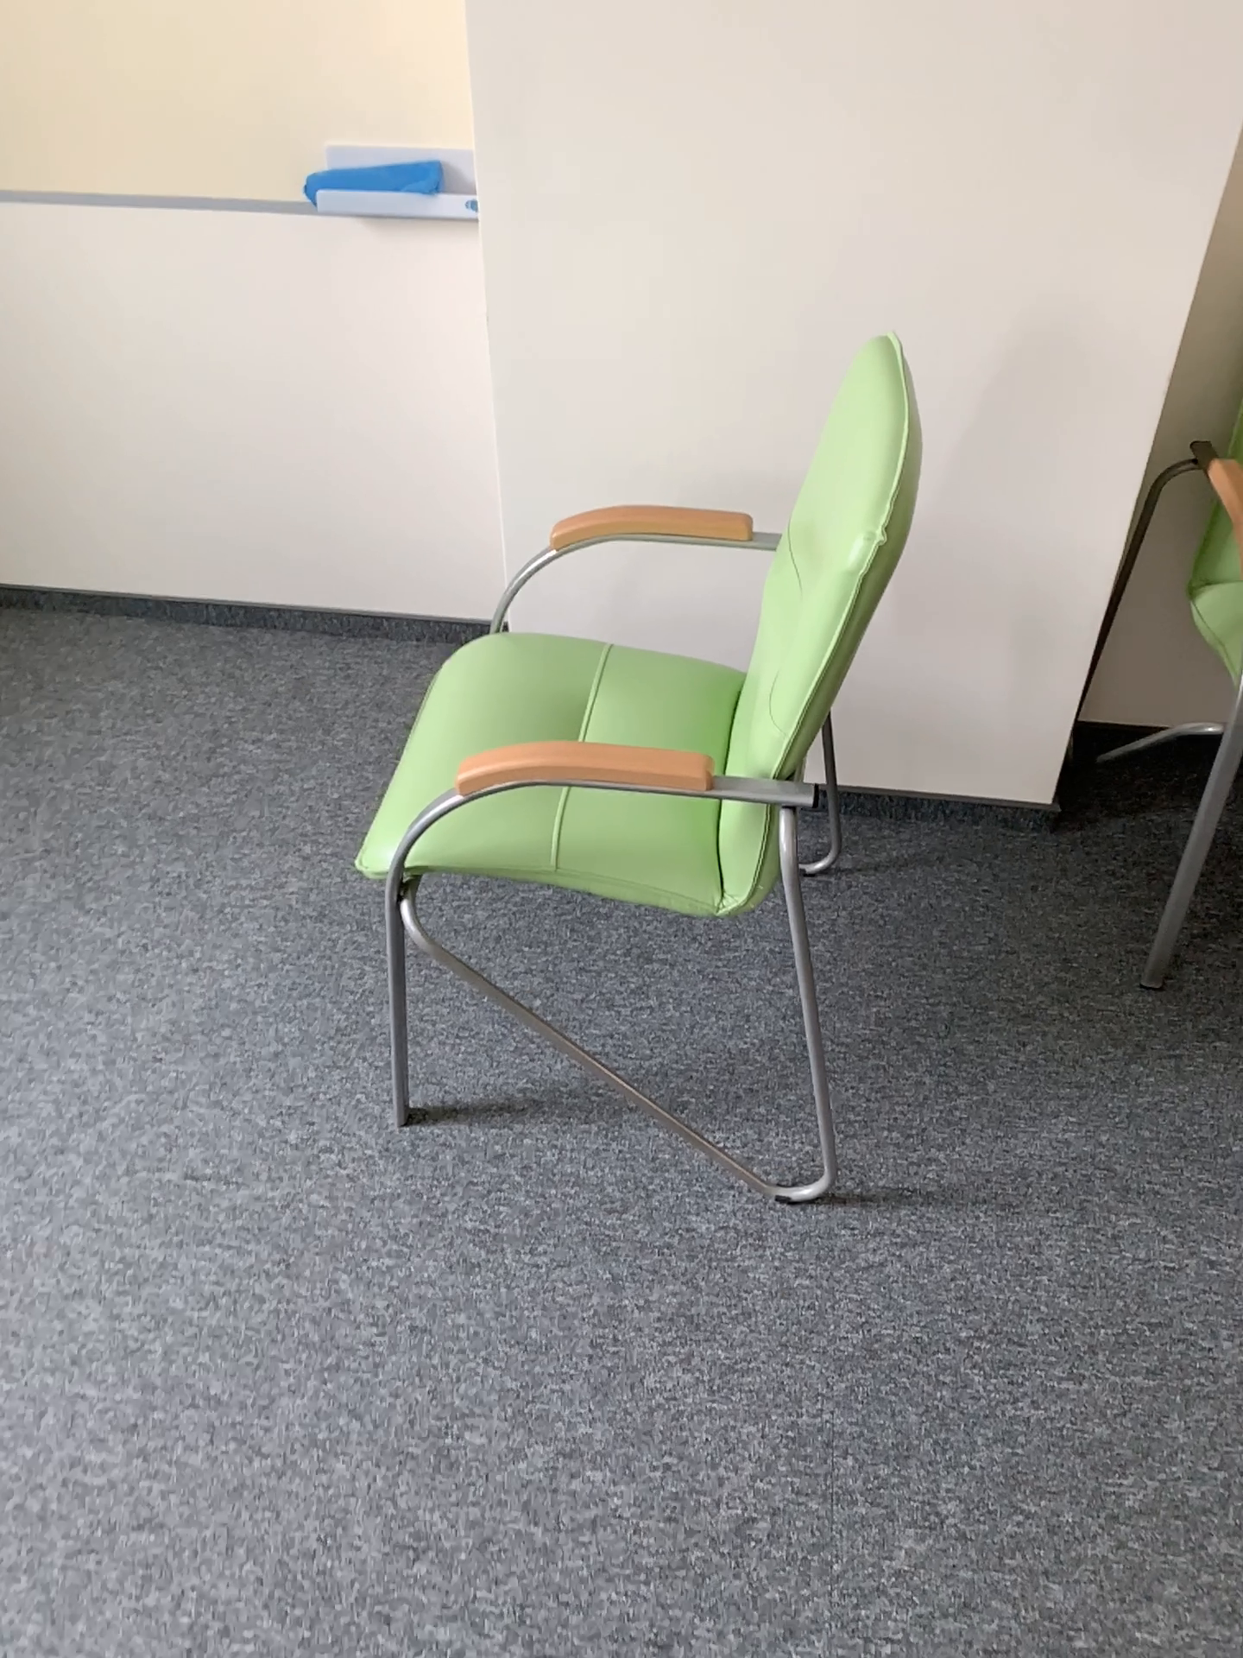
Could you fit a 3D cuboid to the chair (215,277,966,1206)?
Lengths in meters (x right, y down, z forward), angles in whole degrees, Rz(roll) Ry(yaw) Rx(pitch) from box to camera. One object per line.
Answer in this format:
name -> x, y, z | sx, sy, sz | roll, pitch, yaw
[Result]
chair -> 0.013, -0.101, 1.547 | 0.620, 0.875, 0.624 | 6, 41, 7
